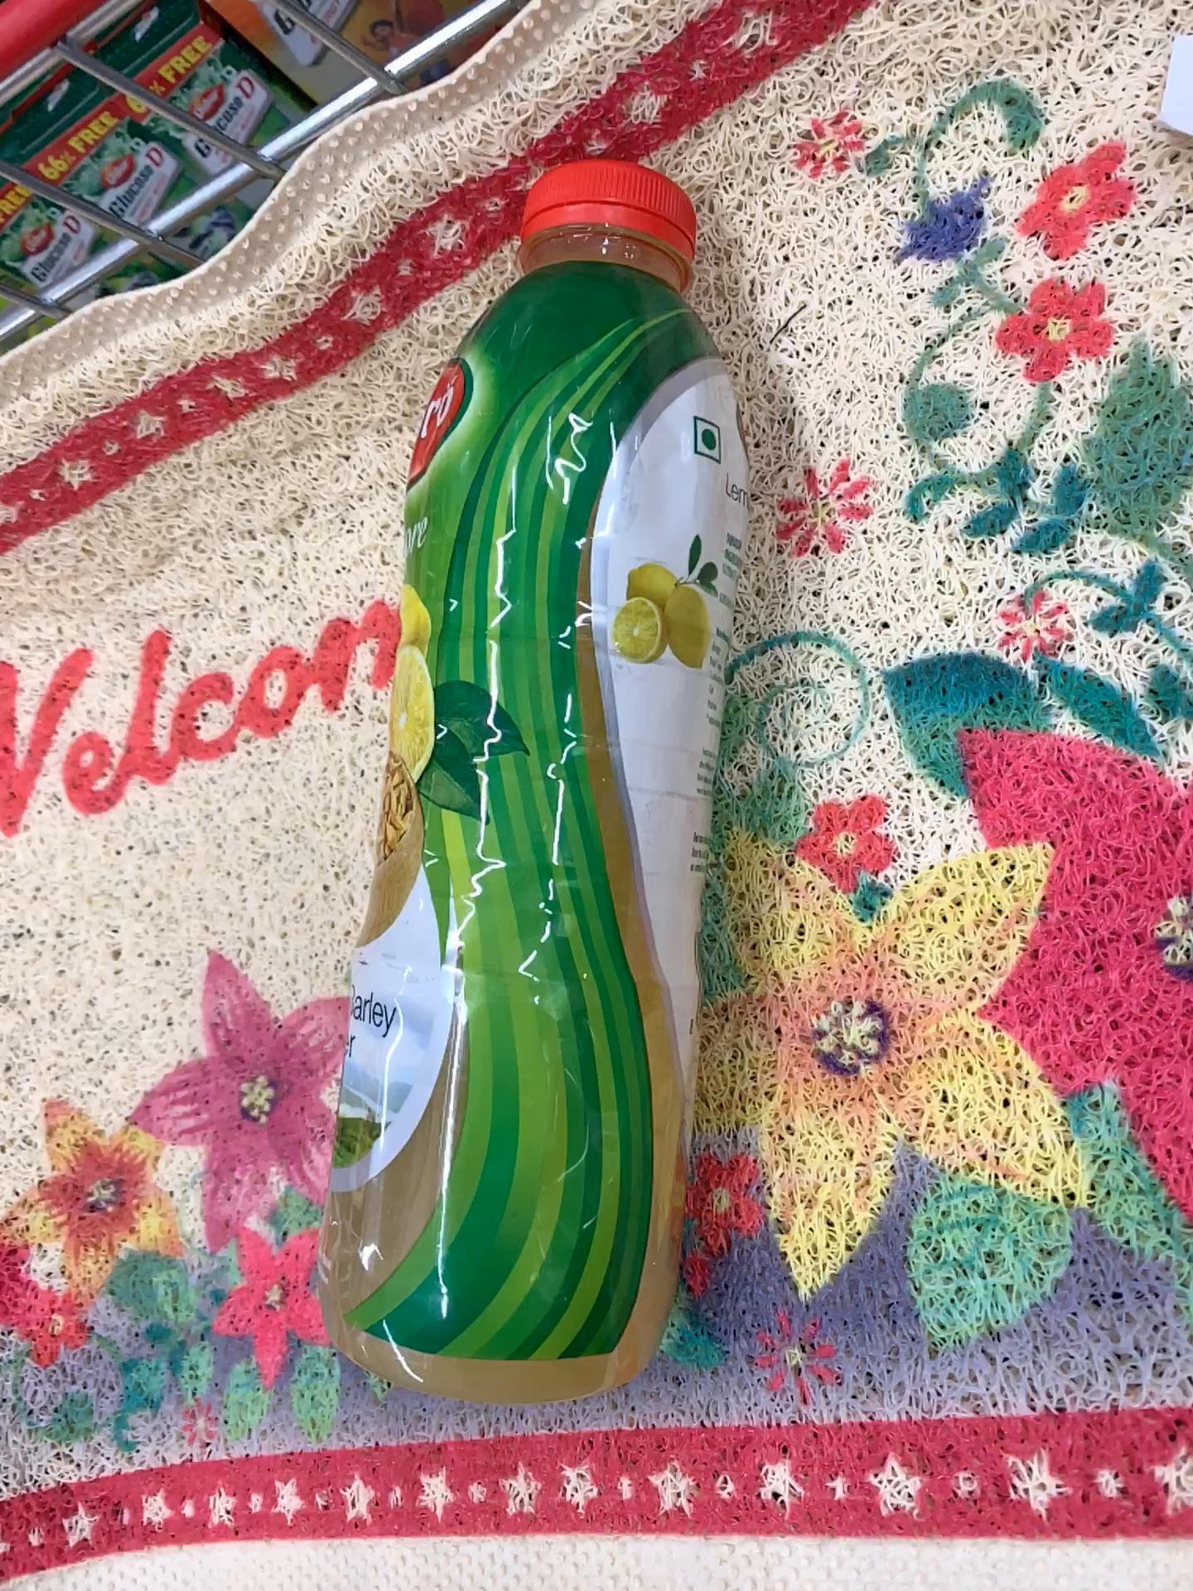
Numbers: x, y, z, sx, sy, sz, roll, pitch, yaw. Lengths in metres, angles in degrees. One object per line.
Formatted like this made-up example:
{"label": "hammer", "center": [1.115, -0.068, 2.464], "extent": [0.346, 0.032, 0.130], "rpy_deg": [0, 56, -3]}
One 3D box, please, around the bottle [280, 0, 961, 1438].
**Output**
{"label": "bottle", "center": [0.003, -0.020, 0.269], "extent": [0.080, 0.090, 0.270], "rpy_deg": [177, 101, -65]}
